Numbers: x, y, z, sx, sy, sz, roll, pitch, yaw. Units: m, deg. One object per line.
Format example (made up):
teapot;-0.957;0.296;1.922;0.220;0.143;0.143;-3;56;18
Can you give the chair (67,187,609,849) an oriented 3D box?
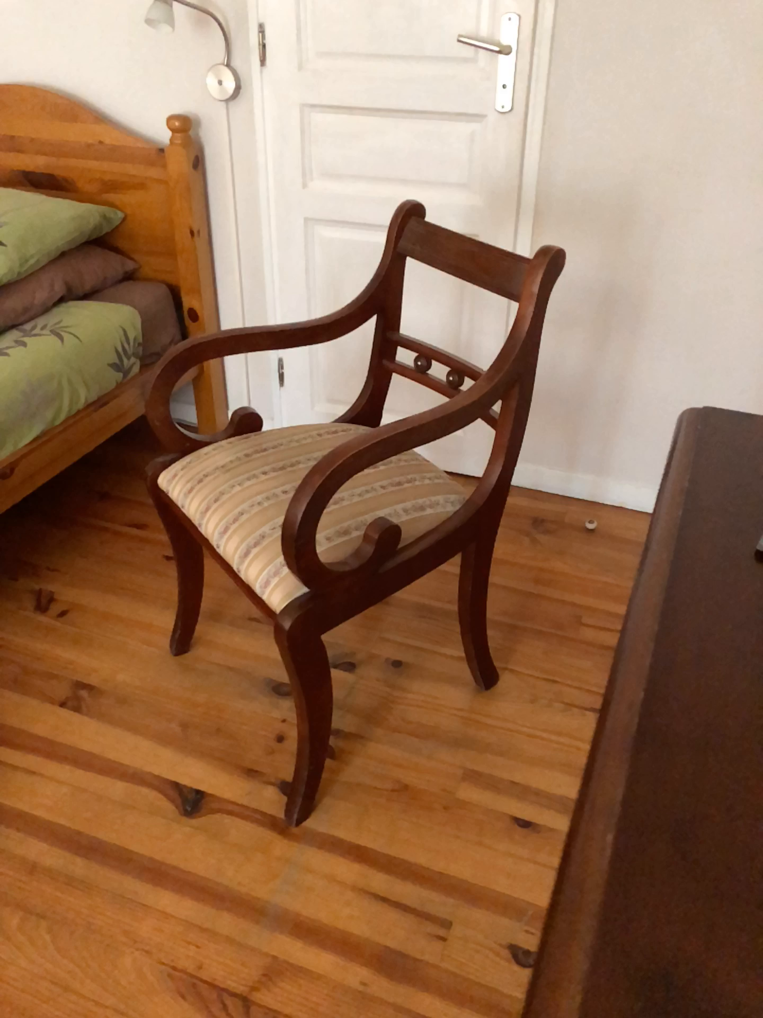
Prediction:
chair;-0.094;-0.039;1.413;0.572;0.825;0.581;-17;35;-28
